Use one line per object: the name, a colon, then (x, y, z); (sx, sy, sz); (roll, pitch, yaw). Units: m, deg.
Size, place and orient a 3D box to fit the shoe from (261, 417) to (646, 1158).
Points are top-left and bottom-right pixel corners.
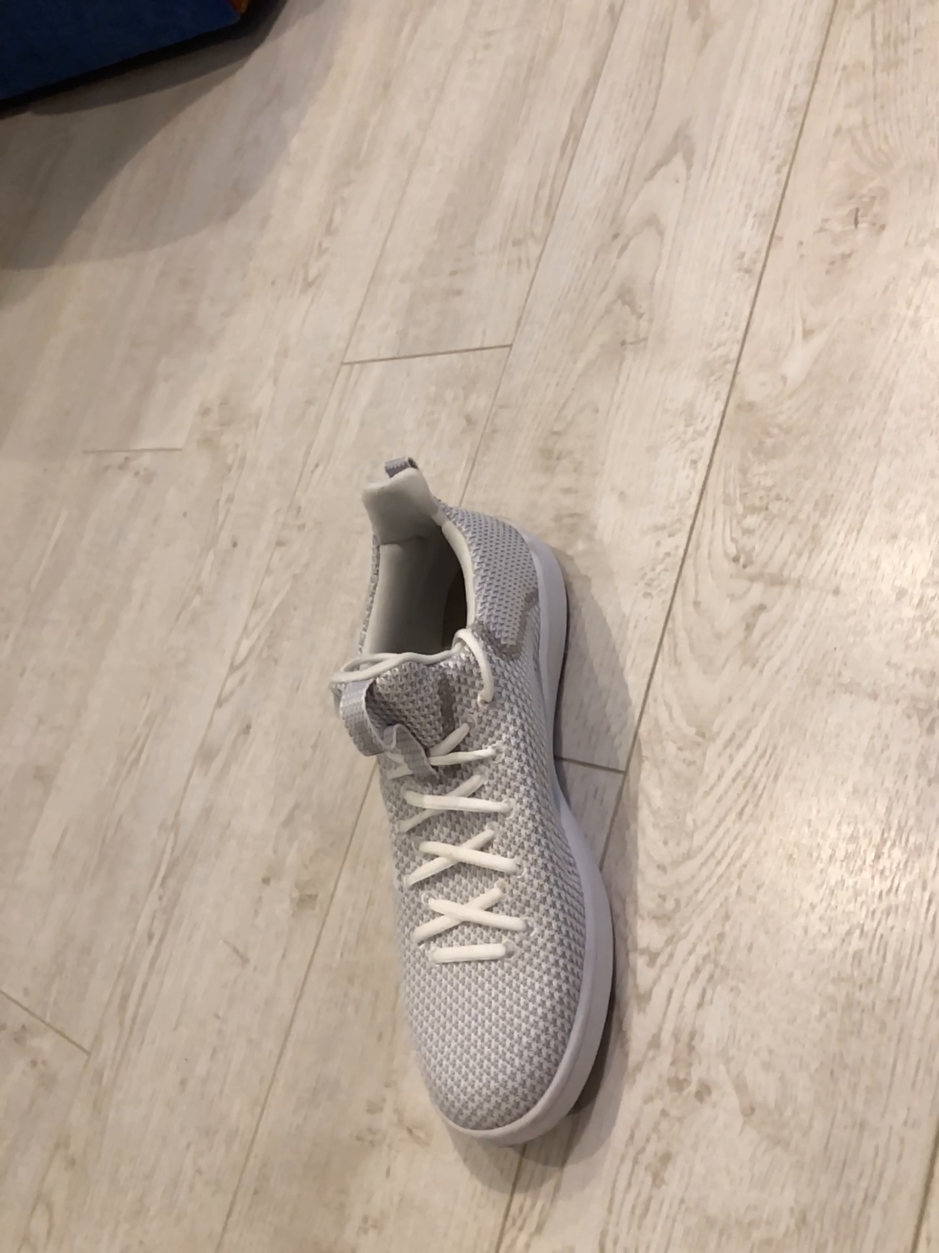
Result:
shoe: (-0.006, 0.070, 0.458); (0.100, 0.109, 0.291); (-19, 58, 32)
